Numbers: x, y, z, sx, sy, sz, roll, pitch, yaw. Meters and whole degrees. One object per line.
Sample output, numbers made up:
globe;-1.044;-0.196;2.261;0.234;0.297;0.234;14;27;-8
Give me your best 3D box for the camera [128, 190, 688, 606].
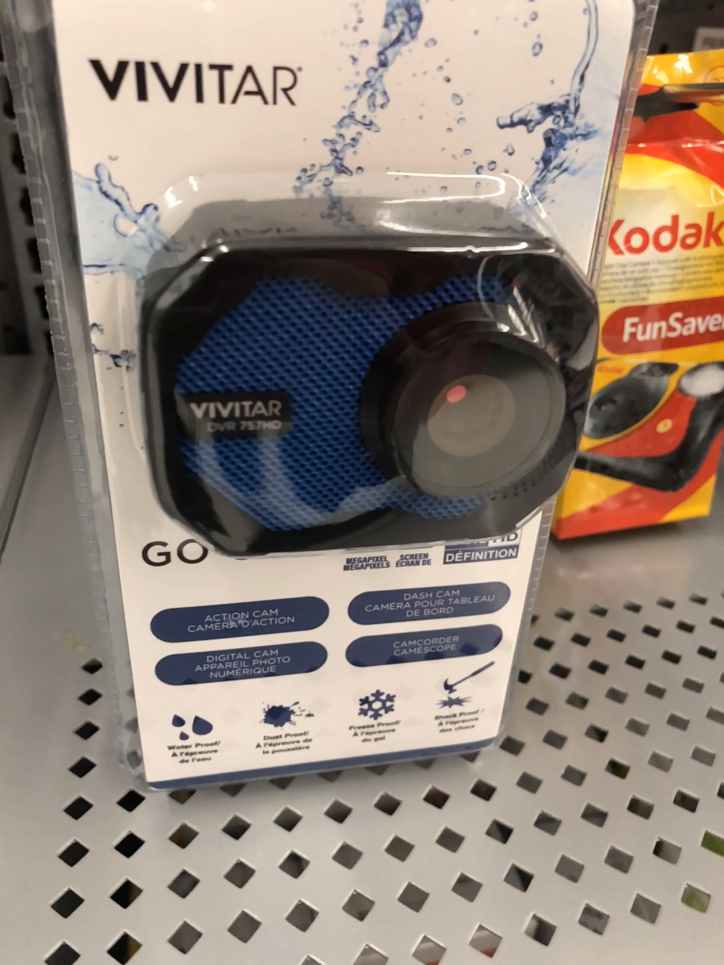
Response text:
camera;0.003;-0.016;0.129;0.070;0.050;0.040;-4;31;-10
